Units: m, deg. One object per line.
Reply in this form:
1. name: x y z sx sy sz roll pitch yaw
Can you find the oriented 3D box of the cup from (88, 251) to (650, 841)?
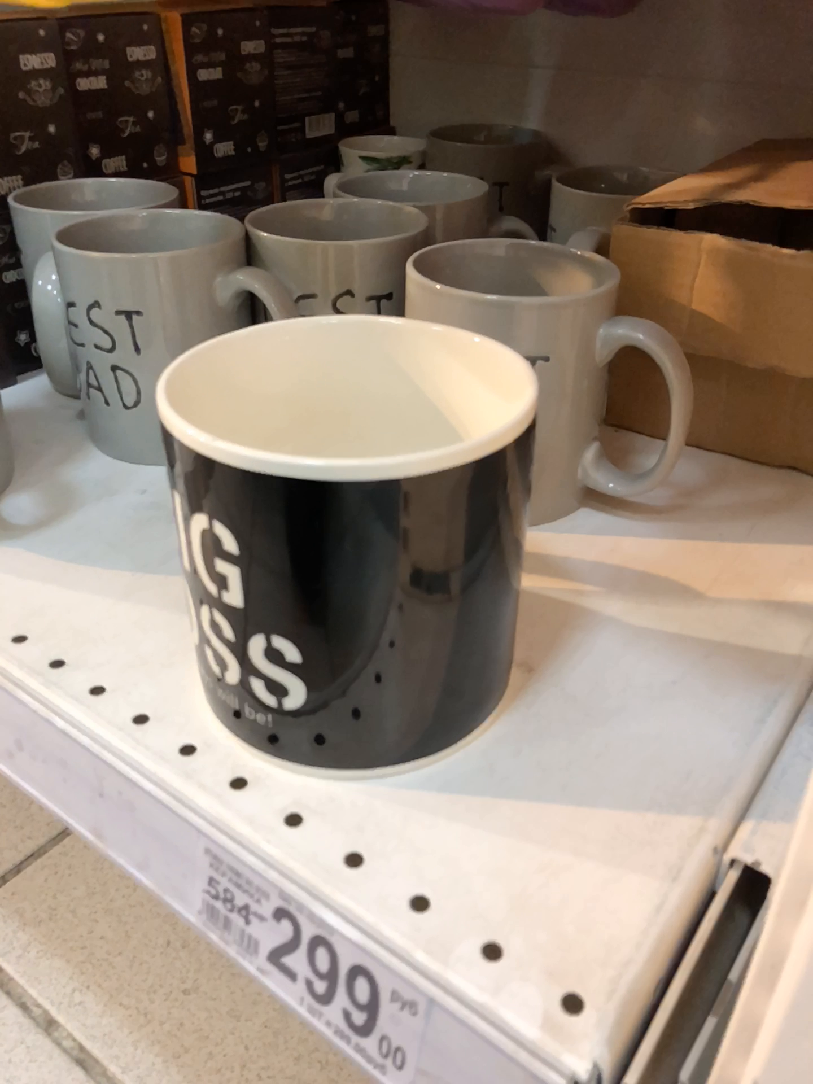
1. cup: -0.029 -0.019 0.340 0.128 0.122 0.189 -14 35 -22
